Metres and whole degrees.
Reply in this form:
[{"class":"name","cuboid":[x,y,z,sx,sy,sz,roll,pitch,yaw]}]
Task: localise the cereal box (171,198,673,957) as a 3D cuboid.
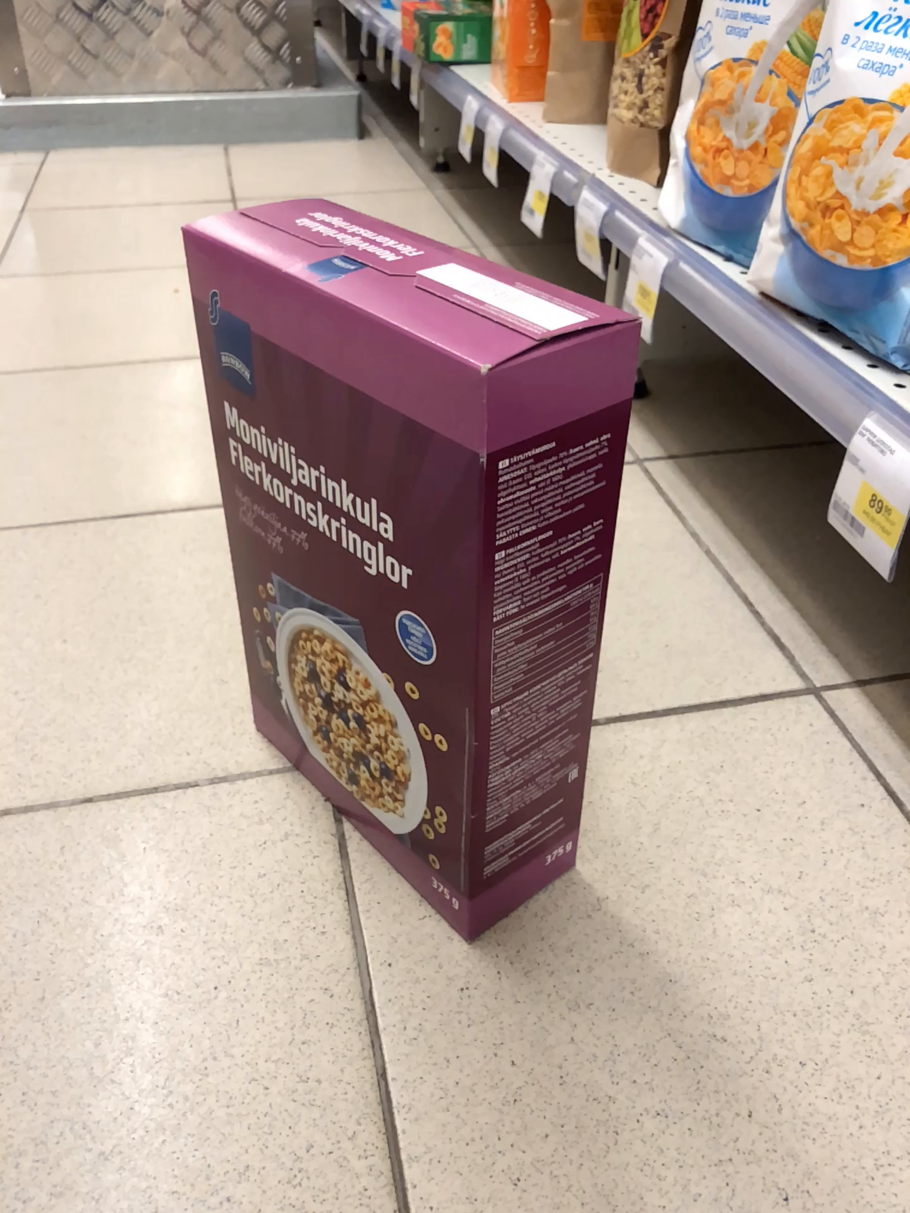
[{"class":"cereal box","cuboid":[-0.027,-0.016,0.465,0.080,0.278,0.211,-25,43,-32]}]
